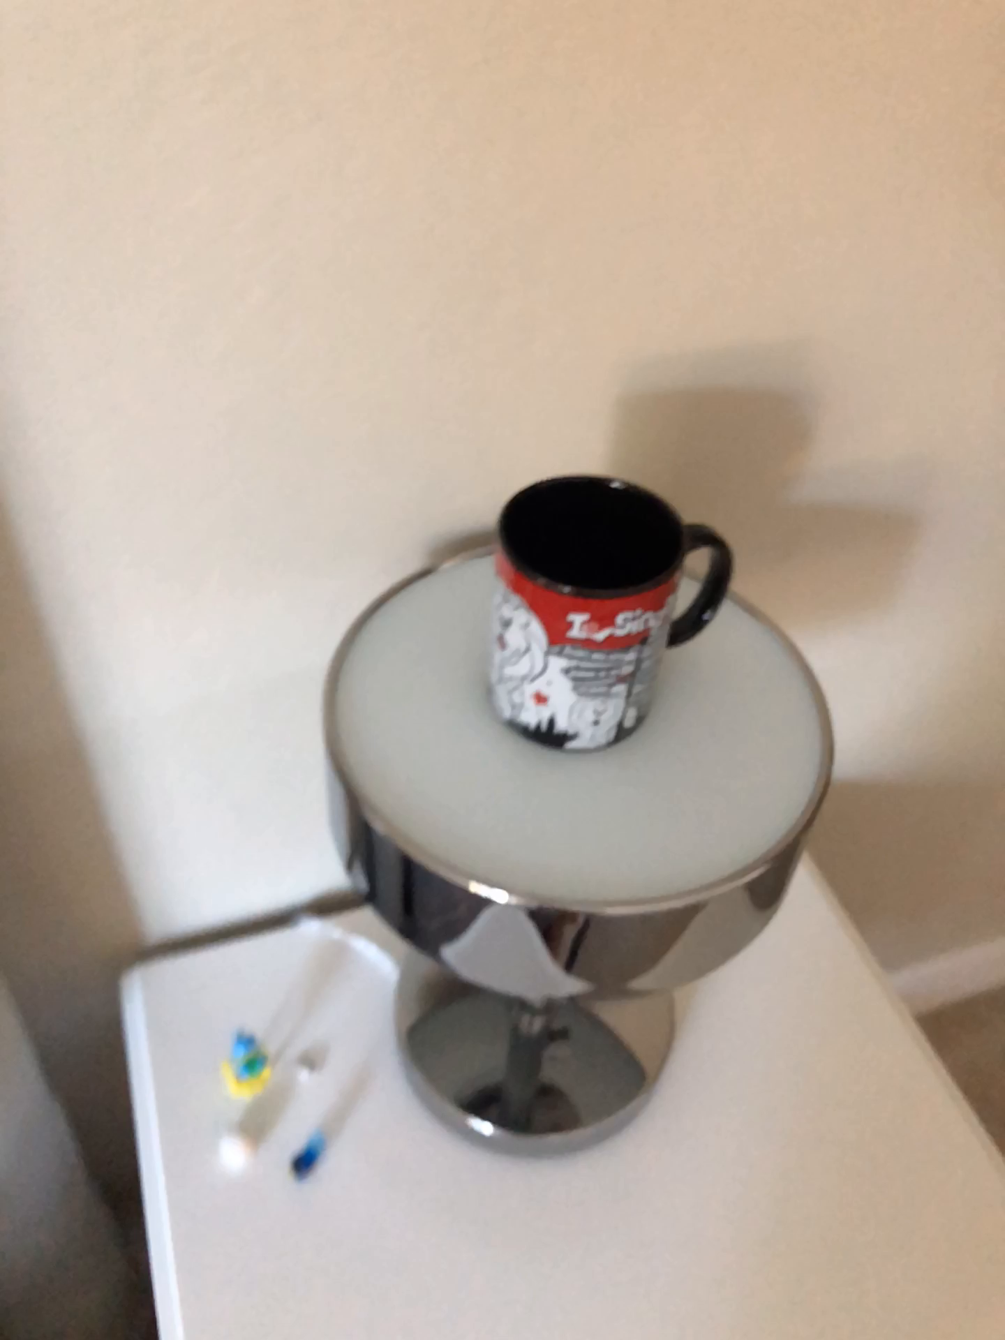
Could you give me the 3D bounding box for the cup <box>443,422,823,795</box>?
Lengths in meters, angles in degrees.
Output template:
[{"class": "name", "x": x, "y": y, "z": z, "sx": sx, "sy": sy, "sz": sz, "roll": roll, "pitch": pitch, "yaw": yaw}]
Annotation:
[{"class": "cup", "x": 0.053, "y": -0.031, "z": 0.510, "sx": 0.130, "sy": 0.100, "sz": 0.090, "roll": -21, "pitch": 50, "yaw": -24}]
